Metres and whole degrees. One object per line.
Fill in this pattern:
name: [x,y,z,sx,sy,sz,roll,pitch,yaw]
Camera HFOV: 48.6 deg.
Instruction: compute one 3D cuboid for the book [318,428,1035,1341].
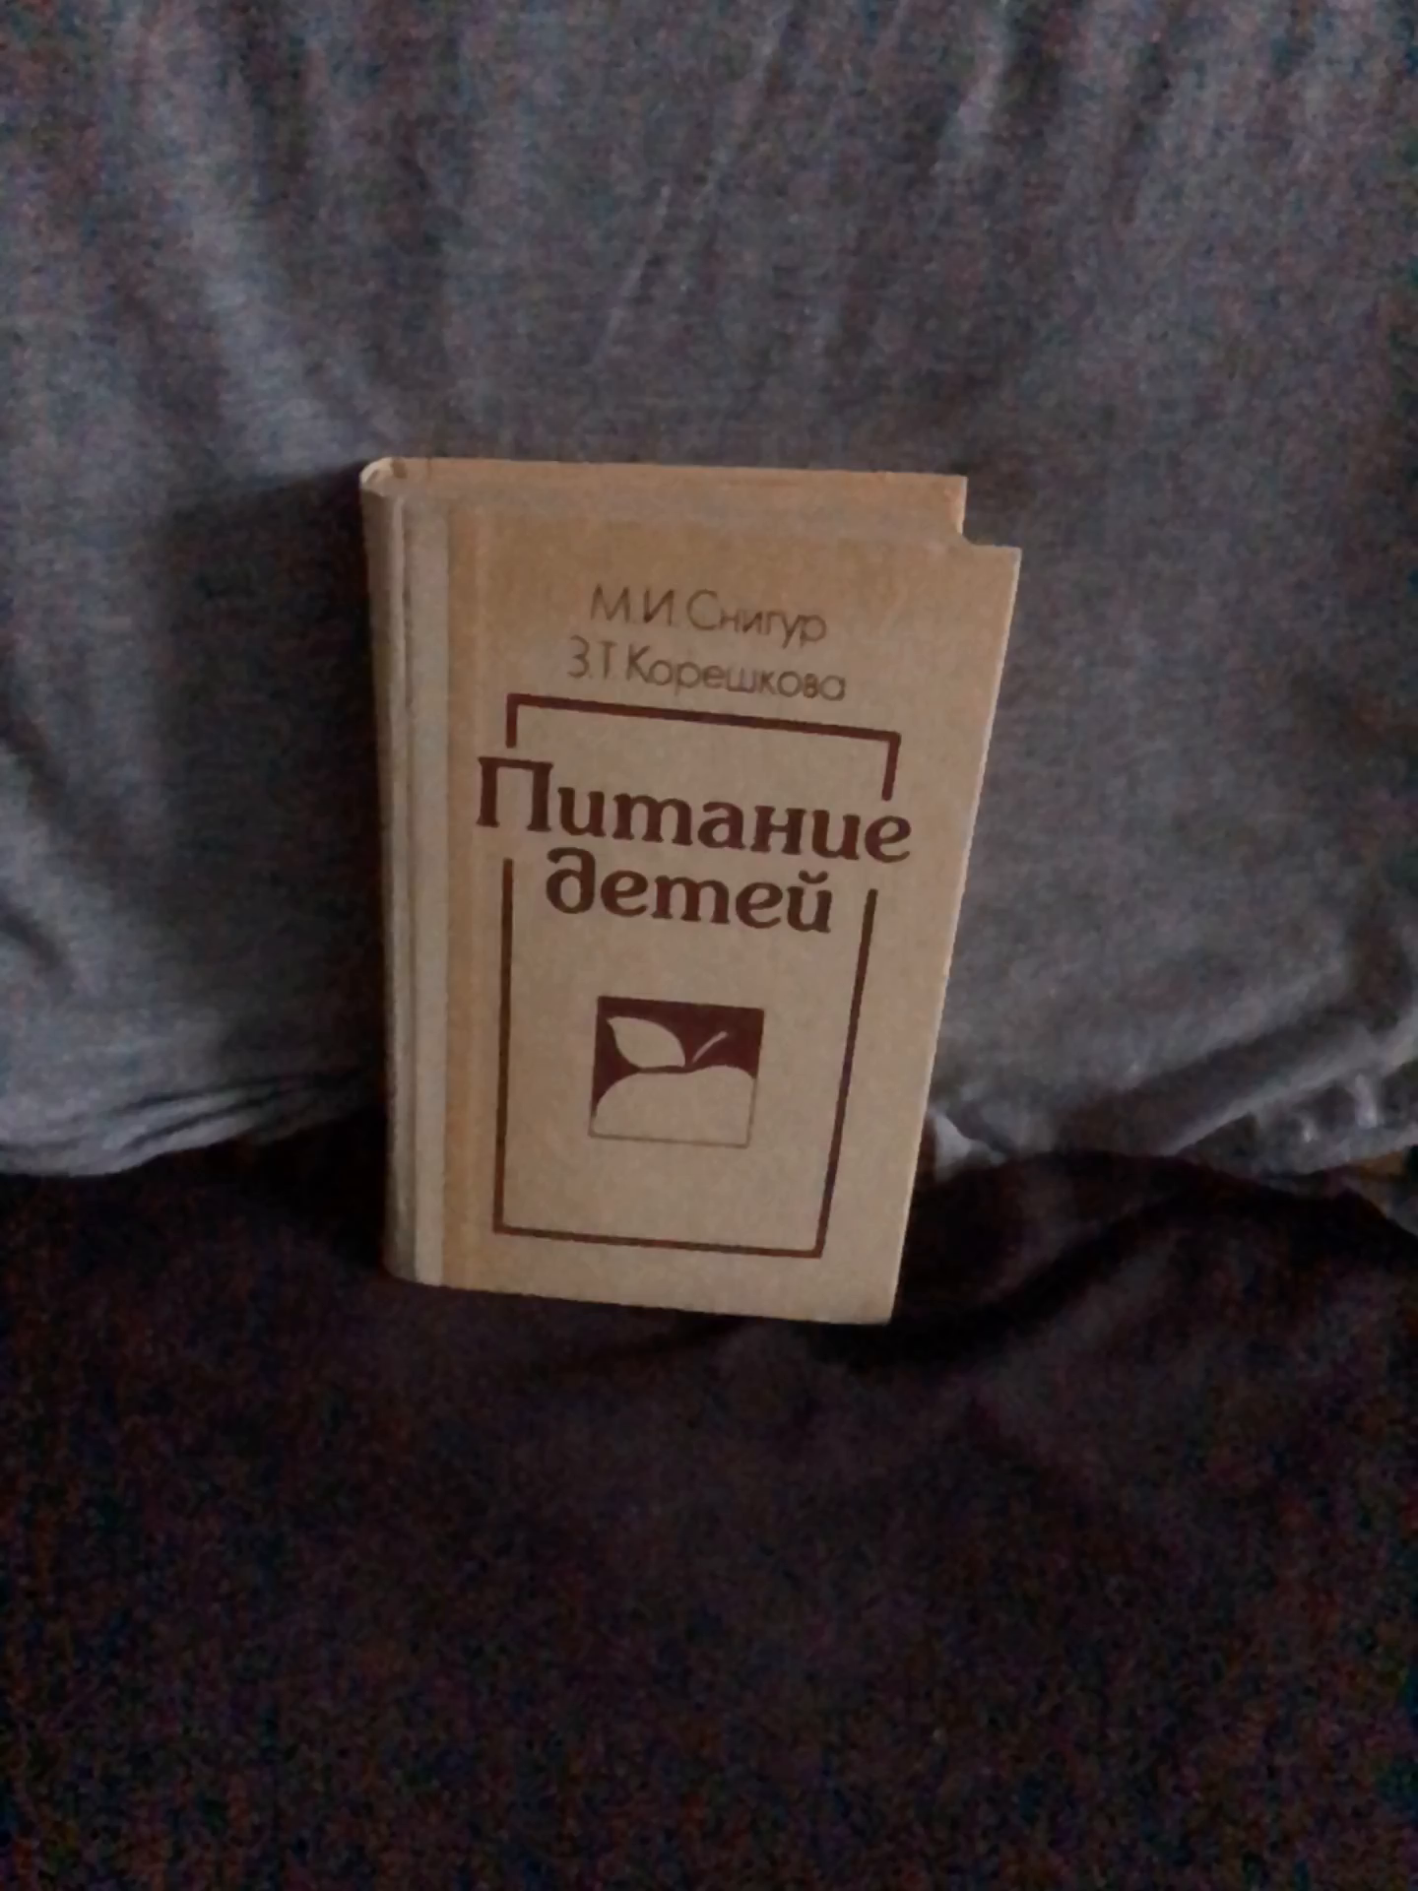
book: [-0.011,-0.005,0.384,0.144,0.219,0.041,4,29,1]
